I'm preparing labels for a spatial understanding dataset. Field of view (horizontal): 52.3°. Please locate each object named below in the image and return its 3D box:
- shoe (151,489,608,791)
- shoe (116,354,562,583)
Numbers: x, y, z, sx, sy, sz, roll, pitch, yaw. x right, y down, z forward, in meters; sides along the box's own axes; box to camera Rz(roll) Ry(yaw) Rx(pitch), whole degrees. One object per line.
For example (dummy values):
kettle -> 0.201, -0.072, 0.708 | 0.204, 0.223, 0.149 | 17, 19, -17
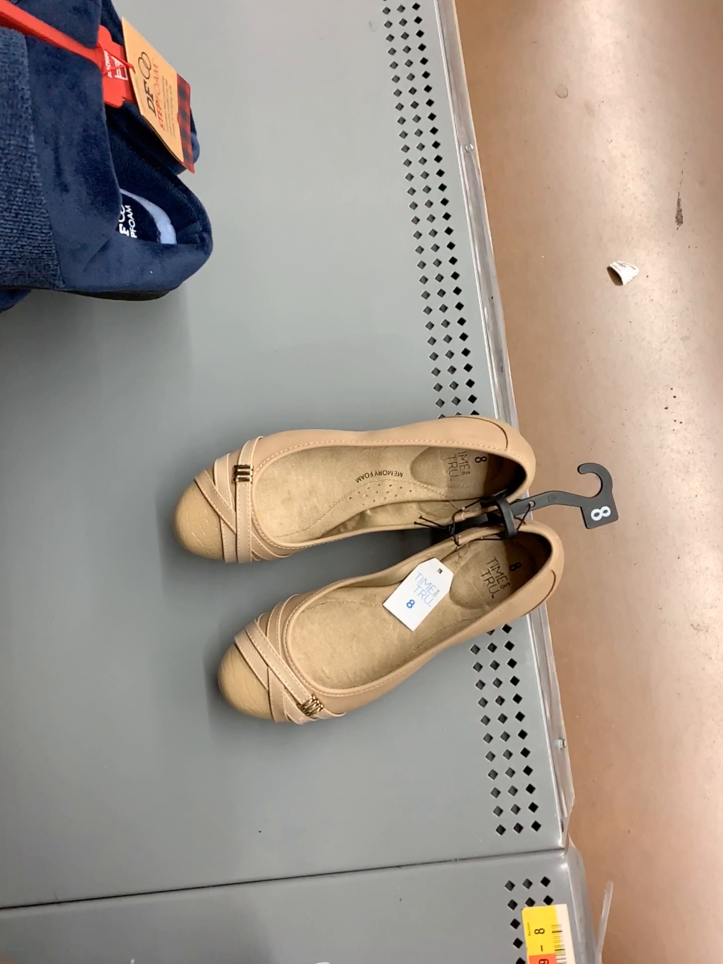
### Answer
shoe -> 0.012, 0.108, 0.528 | 0.280, 0.100, 0.100 | -21, 81, 0
shoe -> -0.016, -0.003, 0.532 | 0.280, 0.100, 0.100 | -11, 81, 1
